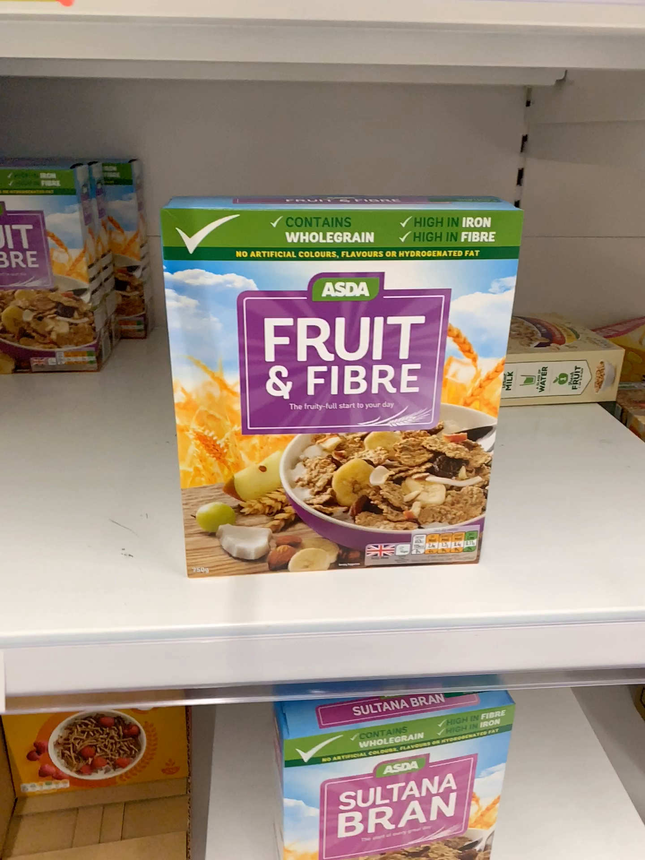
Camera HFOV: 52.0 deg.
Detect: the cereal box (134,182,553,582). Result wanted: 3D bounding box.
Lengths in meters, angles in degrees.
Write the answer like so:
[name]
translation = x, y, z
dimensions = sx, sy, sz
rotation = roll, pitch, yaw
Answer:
[cereal box]
translation = 0.012, -0.033, 0.461
dimensions = 0.240, 0.258, 0.081
rotation = -2, 22, -5
